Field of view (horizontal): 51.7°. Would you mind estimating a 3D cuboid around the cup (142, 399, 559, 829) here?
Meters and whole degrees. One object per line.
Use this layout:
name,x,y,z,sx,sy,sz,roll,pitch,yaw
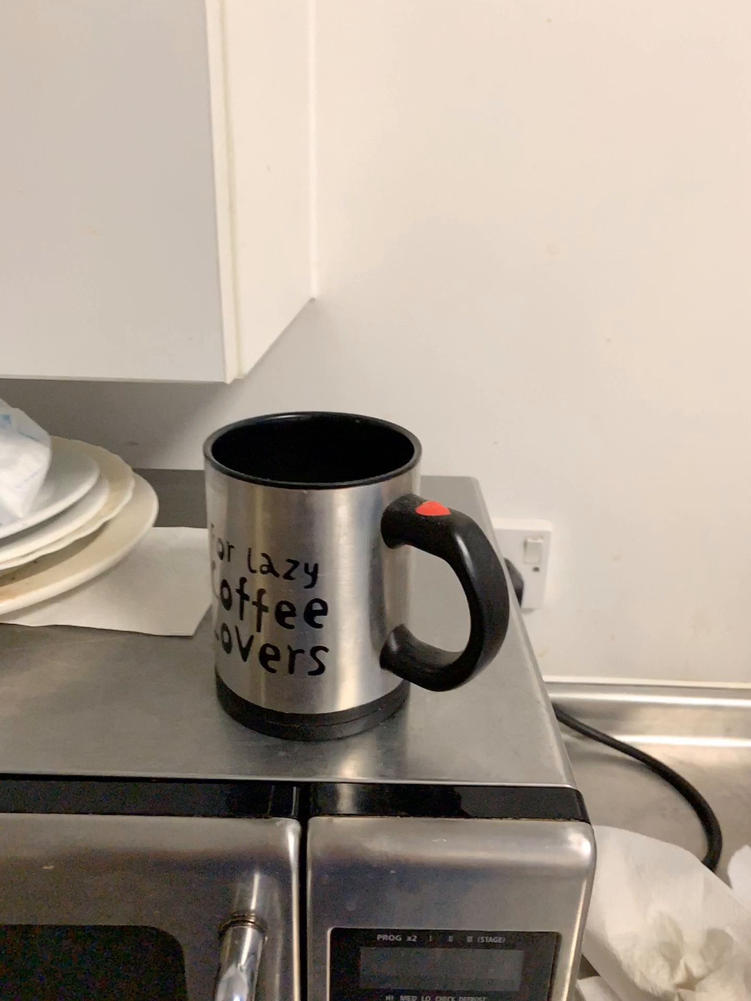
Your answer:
cup,-0.013,0.032,0.321,0.133,0.108,0.096,19,28,38
